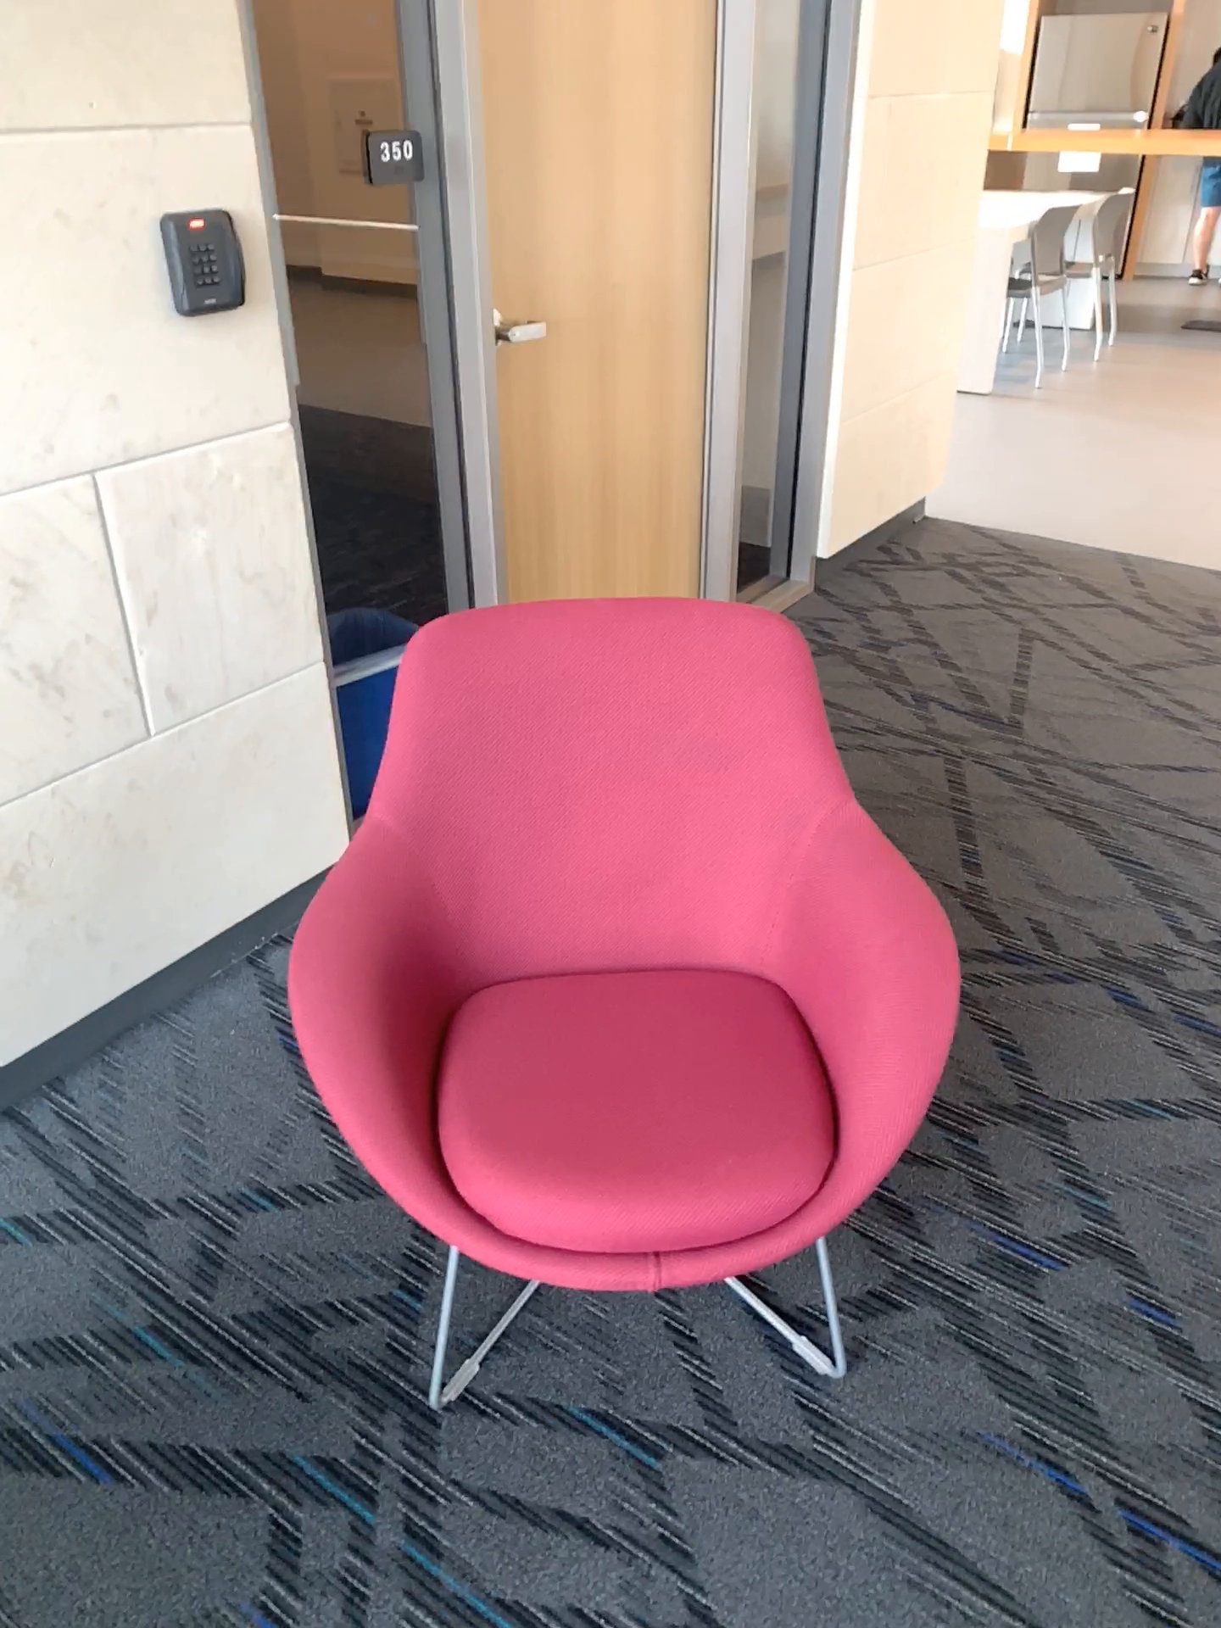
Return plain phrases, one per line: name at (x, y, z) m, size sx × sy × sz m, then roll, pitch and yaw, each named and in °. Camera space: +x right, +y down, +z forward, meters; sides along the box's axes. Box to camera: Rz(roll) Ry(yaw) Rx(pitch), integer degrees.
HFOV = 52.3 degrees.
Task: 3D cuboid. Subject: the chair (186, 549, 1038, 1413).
chair at (-0.008, 0.163, 1.457) m, size 0.690 × 0.754 × 0.615 m, roll -2°, pitch 30°, yaw -3°
